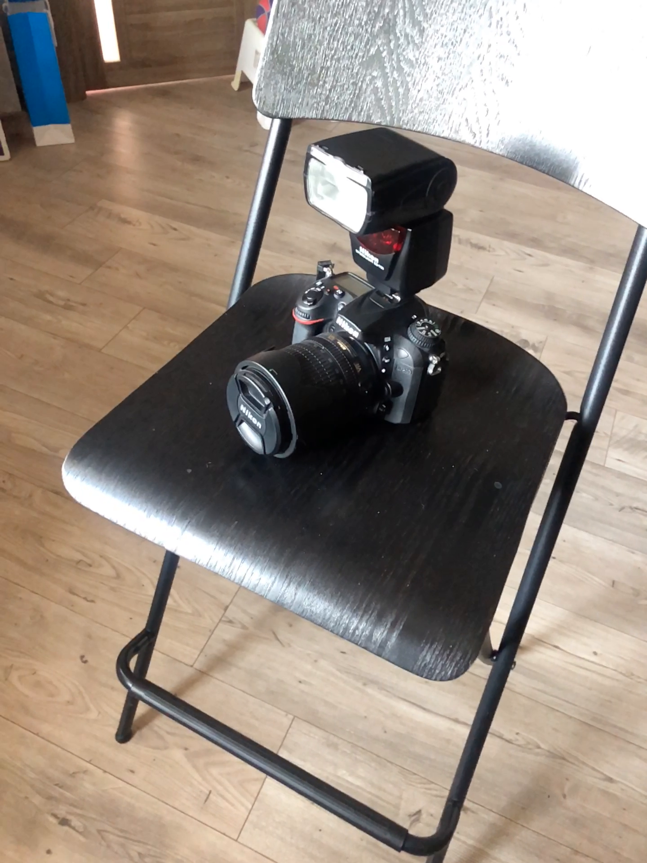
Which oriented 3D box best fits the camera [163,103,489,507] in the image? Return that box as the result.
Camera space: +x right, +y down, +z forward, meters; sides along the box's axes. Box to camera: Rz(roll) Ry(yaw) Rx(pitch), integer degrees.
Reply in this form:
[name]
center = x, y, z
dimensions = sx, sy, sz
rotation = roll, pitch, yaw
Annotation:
[camera]
center = 0.002, -0.093, 0.528
dimensions = 0.168, 0.217, 0.125
rotation = -32, 53, -29
